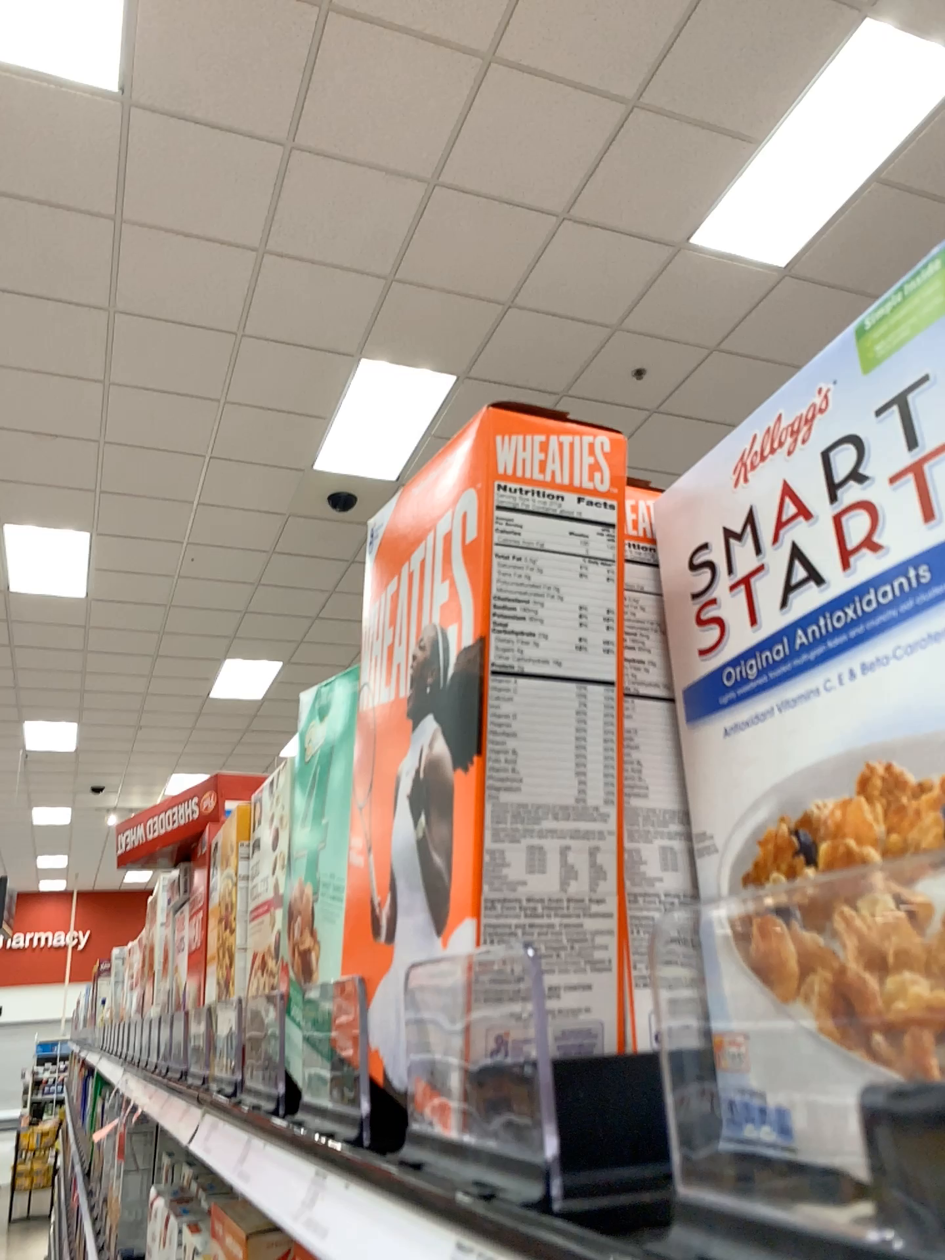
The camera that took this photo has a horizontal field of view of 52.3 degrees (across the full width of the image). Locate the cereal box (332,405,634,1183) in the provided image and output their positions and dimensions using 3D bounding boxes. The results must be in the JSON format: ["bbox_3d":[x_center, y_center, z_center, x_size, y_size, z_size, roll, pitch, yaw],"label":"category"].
[{"bbox_3d":[-0.004,0.070,0.469,0.070,0.291,0.200,6,-12,-20],"label":"cereal box"}]
